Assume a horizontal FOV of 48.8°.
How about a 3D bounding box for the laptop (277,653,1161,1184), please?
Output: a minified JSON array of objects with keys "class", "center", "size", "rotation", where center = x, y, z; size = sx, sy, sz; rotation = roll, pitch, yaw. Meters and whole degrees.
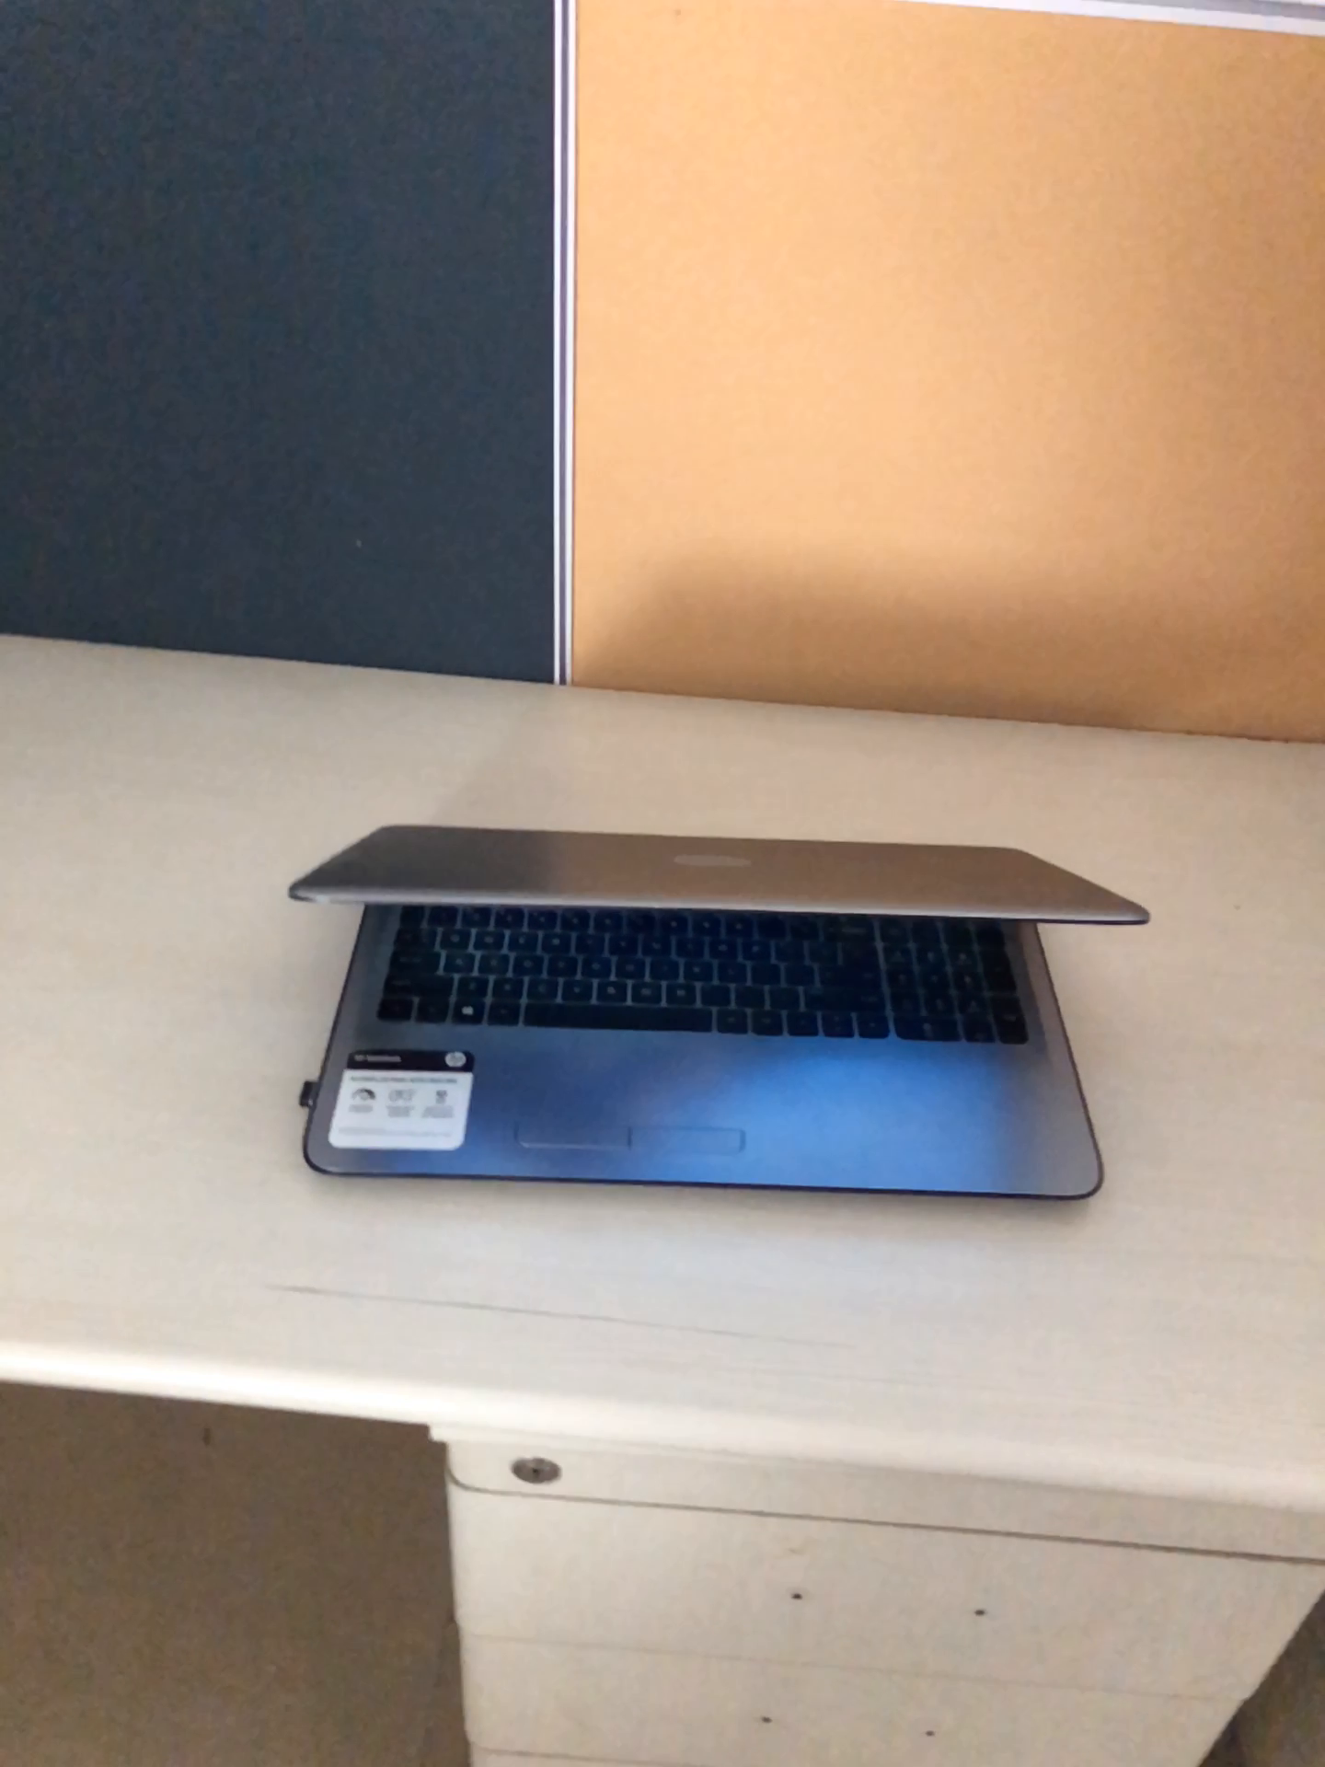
[{"class":"laptop","center":[0.026,0.009,0.733],"size":[0.363,0.132,0.239],"rotation":[2,38,-1]}]
